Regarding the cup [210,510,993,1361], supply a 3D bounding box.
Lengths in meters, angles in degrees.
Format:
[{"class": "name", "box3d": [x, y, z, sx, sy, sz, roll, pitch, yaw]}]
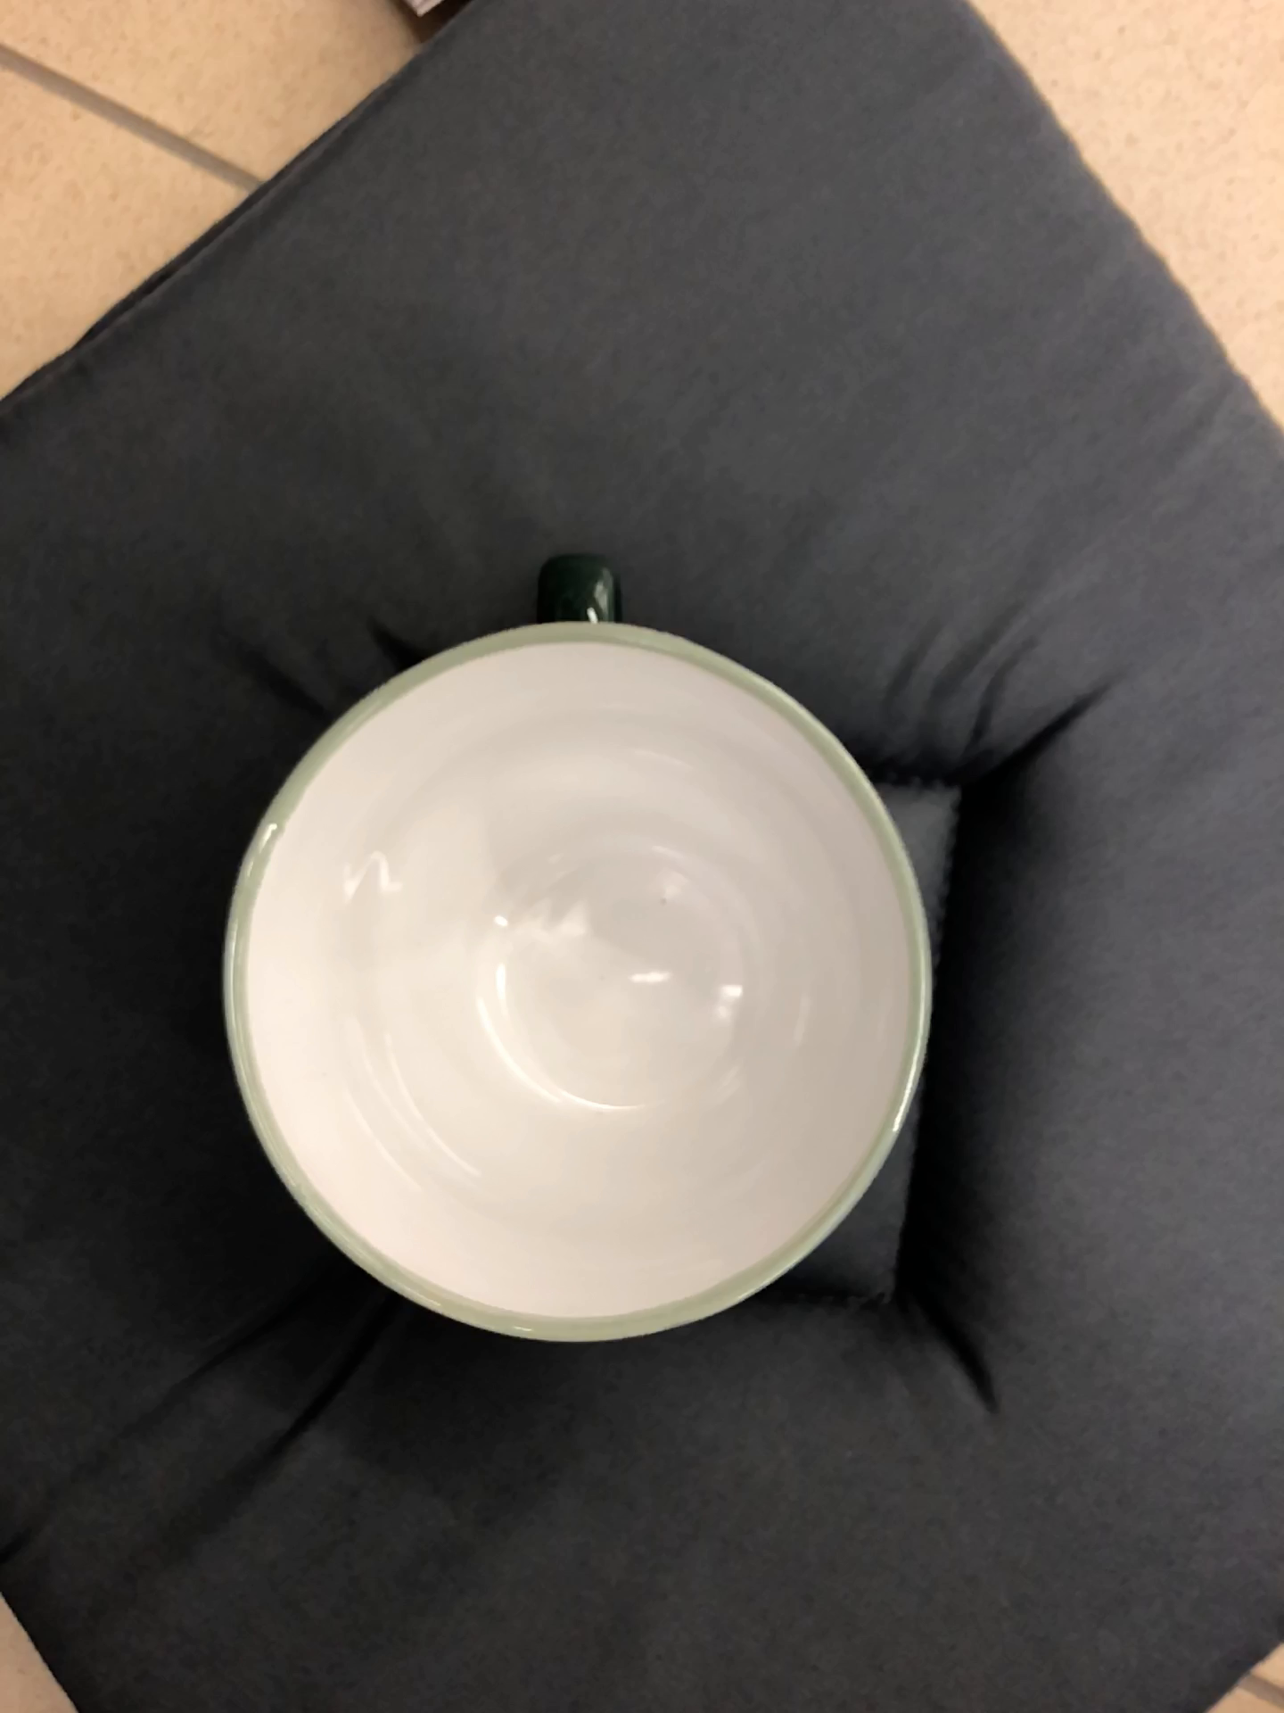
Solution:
[{"class": "cup", "box3d": [-0.006, 0.014, 0.256, 0.120, 0.060, 0.130, 0, 87, 3]}]
